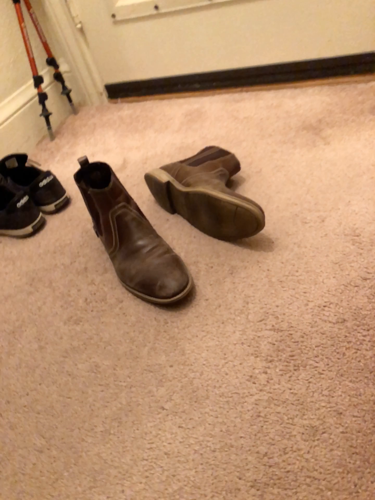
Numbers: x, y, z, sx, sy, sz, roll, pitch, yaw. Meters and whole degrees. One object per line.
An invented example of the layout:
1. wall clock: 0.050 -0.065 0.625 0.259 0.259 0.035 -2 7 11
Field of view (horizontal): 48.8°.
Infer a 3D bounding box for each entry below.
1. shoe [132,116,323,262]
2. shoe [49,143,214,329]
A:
1. shoe: 0.071 -0.137 0.810 0.186 0.114 0.315 -41 46 -20
2. shoe: -0.105 -0.039 0.726 0.115 0.175 0.309 -33 43 -15
